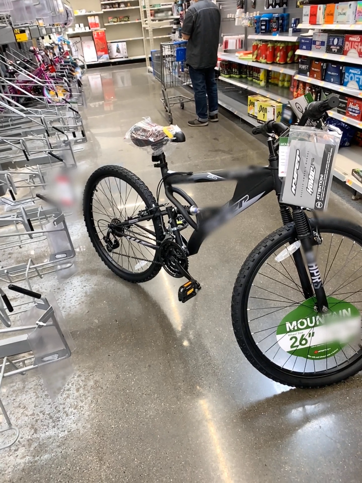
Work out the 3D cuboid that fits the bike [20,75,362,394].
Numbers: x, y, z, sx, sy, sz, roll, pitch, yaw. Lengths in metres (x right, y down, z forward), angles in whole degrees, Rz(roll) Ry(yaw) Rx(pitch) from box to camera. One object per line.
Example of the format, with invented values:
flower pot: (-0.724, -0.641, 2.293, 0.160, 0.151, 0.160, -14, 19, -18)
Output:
bike: (0.199, -0.182, 1.912, 1.680, 1.090, 0.693, 15, 36, 27)
